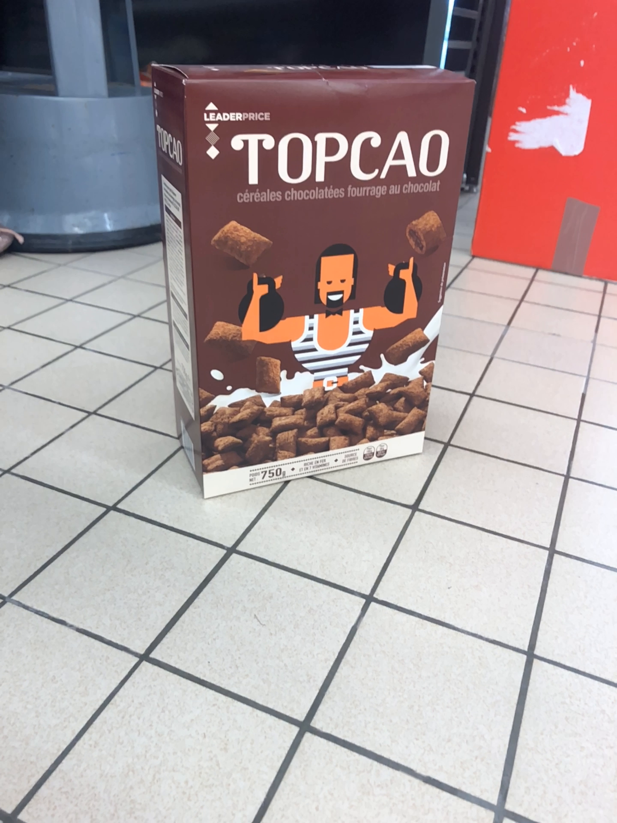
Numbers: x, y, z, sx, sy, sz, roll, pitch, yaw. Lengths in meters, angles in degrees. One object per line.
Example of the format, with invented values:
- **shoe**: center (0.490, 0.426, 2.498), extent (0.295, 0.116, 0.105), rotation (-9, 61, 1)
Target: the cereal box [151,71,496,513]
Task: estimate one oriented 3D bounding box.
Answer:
- **cereal box**: center (0.005, -0.090, 0.509), extent (0.201, 0.288, 0.100), rotation (-10, 31, -19)
